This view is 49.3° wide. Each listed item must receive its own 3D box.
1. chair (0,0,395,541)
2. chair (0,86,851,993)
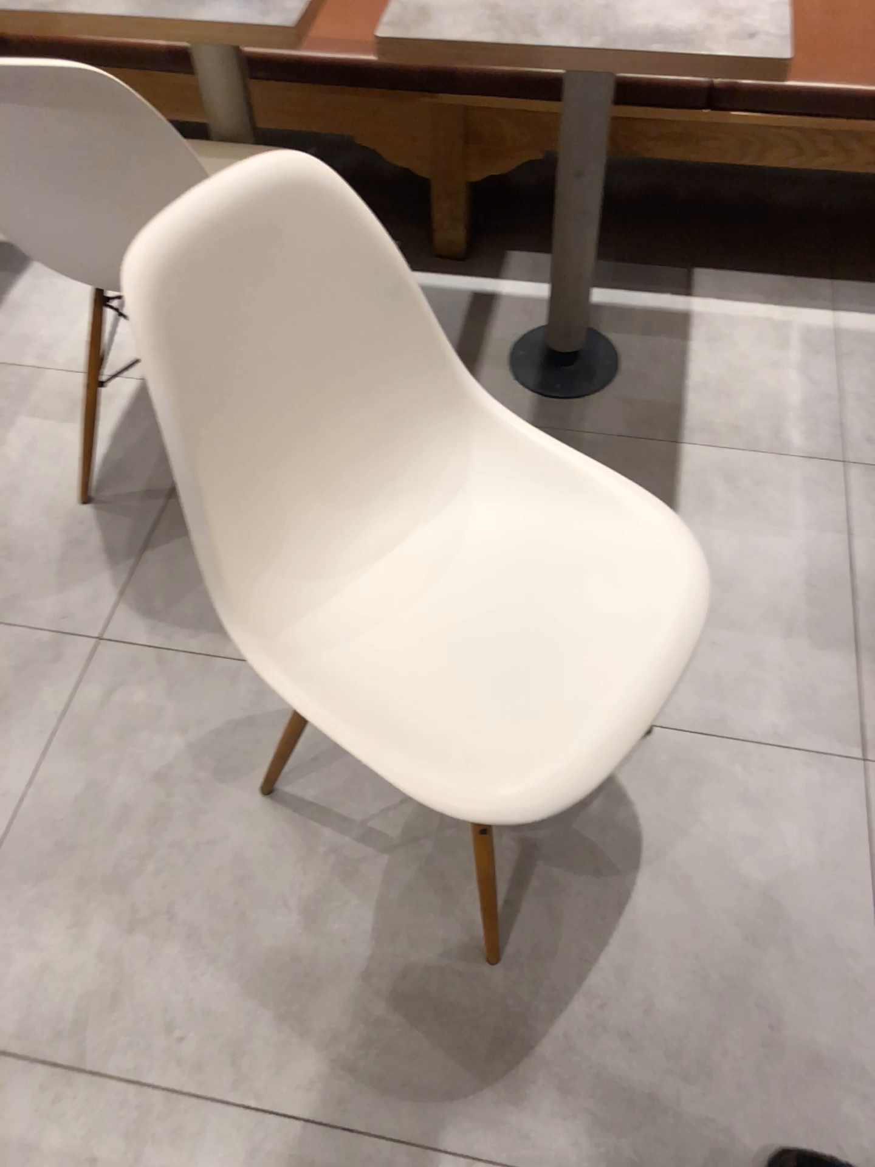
[{"bbox_3d":[-0.422,-0.543,1.509,0.561,0.769,0.514,8,54,8],"label":"chair"},{"bbox_3d":[-0.009,-0.002,1.092,0.553,0.779,0.472,30,60,22],"label":"chair"}]
